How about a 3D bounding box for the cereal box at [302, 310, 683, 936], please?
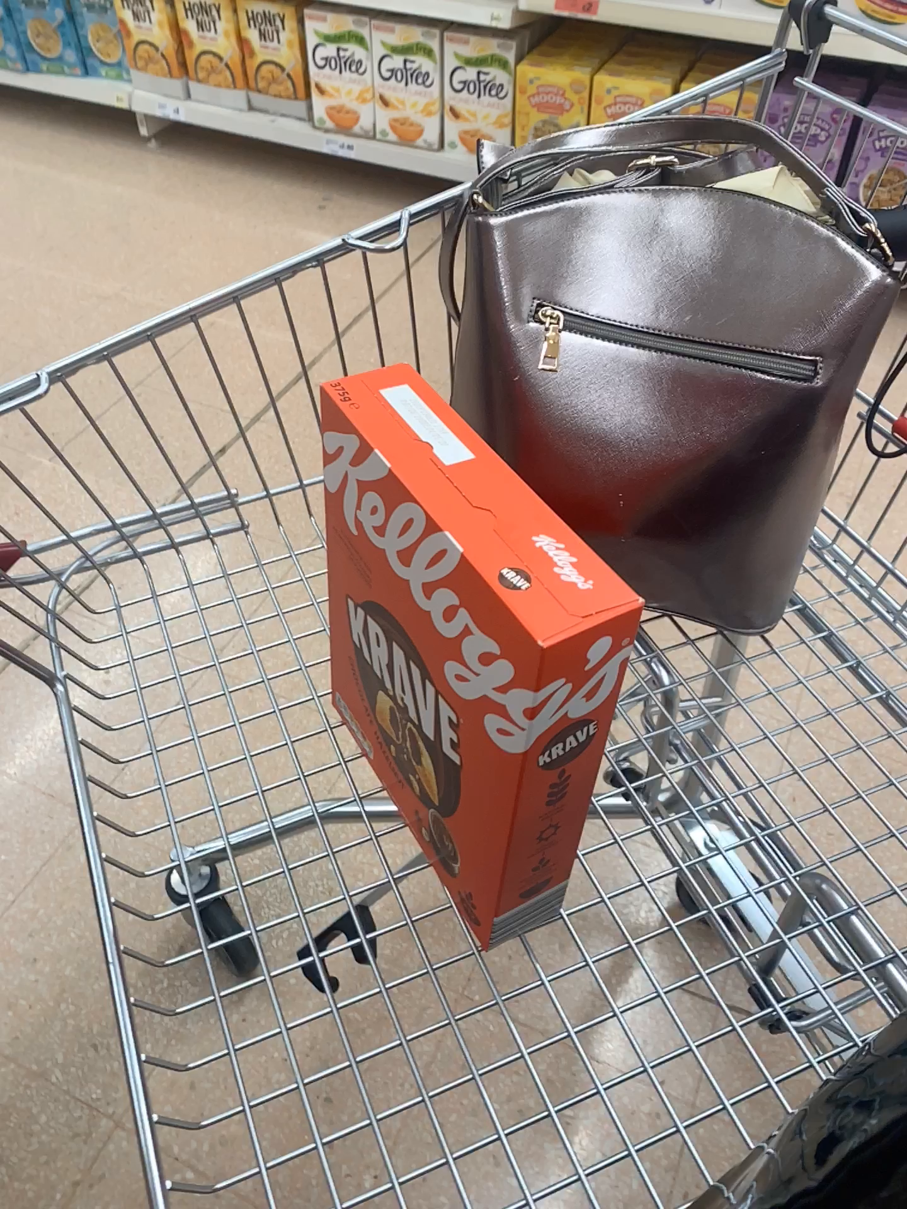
[{"bbox_3d":[-0.001,0.012,0.457,0.050,0.228,0.212,-21,51,-23],"label":"cereal box"}]
